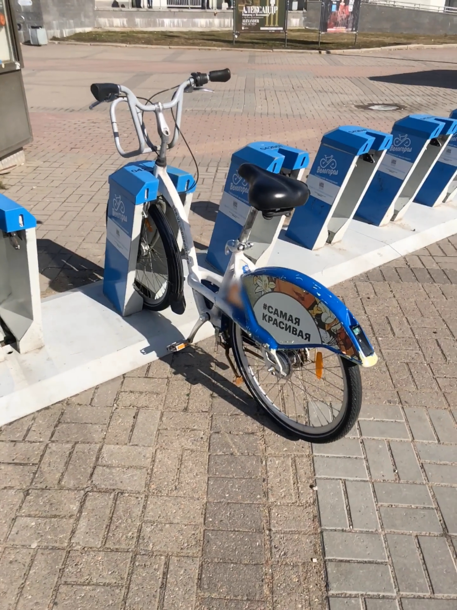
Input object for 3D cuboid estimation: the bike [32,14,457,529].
[{"bbox_3d":[-0.059,-0.323,1.950,0.596,1.204,1.633,-21,41,-33],"label":"bike"}]
